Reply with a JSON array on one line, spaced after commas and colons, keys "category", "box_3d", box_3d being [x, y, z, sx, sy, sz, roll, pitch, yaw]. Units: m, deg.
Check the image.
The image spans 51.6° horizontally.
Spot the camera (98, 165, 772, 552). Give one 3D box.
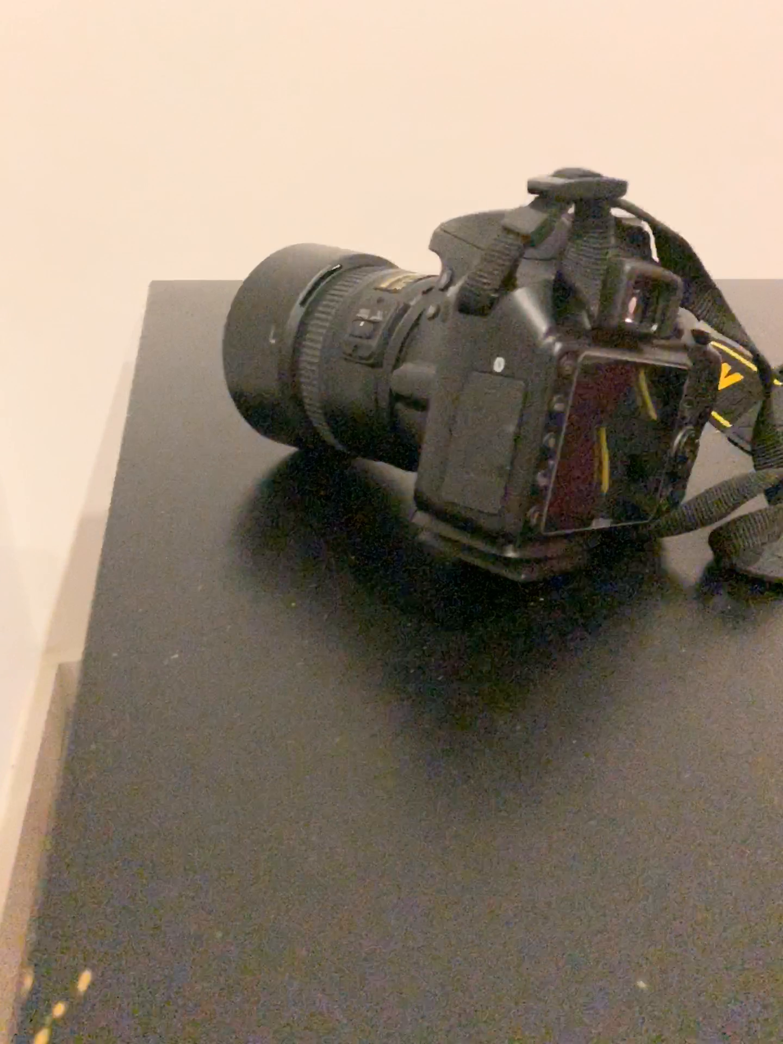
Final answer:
[{"category": "camera", "box_3d": [0.001, -0.071, 0.307, 0.220, 0.089, 0.116, 22, 17, 39]}]
